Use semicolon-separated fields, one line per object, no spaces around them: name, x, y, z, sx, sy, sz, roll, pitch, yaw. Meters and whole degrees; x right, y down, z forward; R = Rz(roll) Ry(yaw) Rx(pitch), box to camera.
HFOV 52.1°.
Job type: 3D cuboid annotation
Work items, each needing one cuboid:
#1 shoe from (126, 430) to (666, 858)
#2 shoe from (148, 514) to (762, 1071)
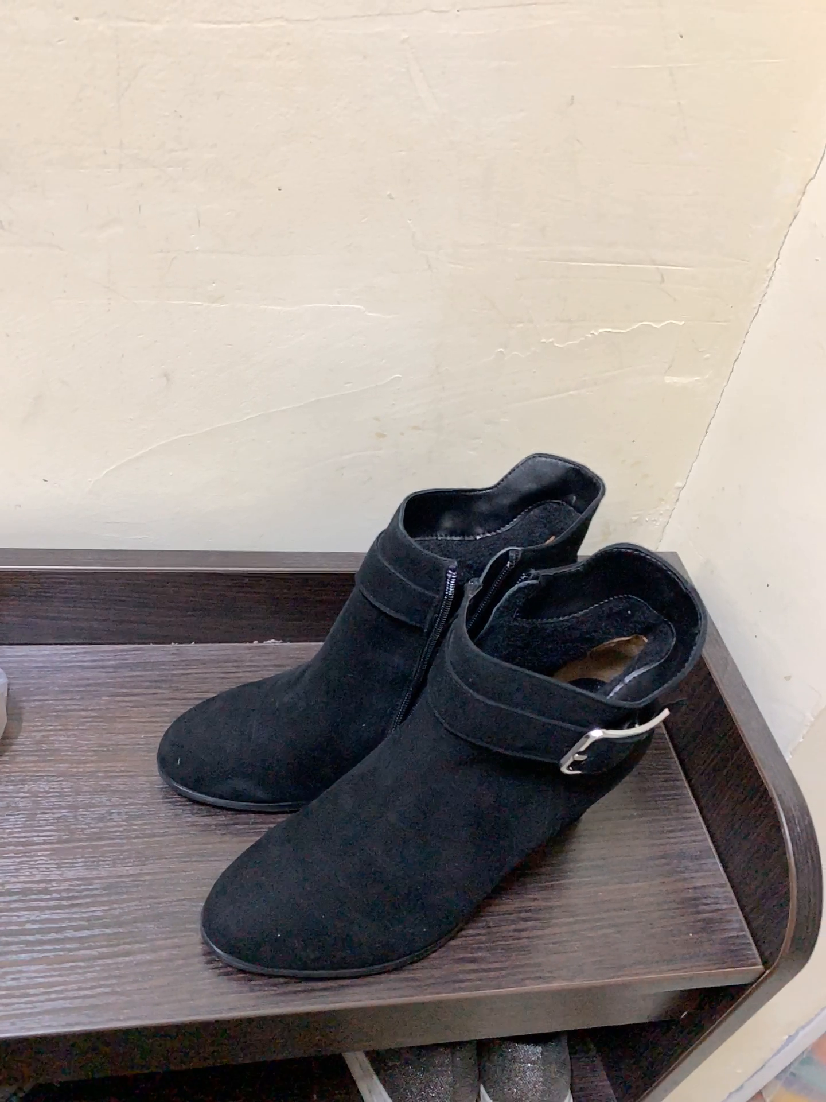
shoe;-0.018;0.047;0.457;0.240;0.189;0.089;-7;43;-21
shoe;0.013;0.107;0.400;0.240;0.189;0.088;-14;46;-27
